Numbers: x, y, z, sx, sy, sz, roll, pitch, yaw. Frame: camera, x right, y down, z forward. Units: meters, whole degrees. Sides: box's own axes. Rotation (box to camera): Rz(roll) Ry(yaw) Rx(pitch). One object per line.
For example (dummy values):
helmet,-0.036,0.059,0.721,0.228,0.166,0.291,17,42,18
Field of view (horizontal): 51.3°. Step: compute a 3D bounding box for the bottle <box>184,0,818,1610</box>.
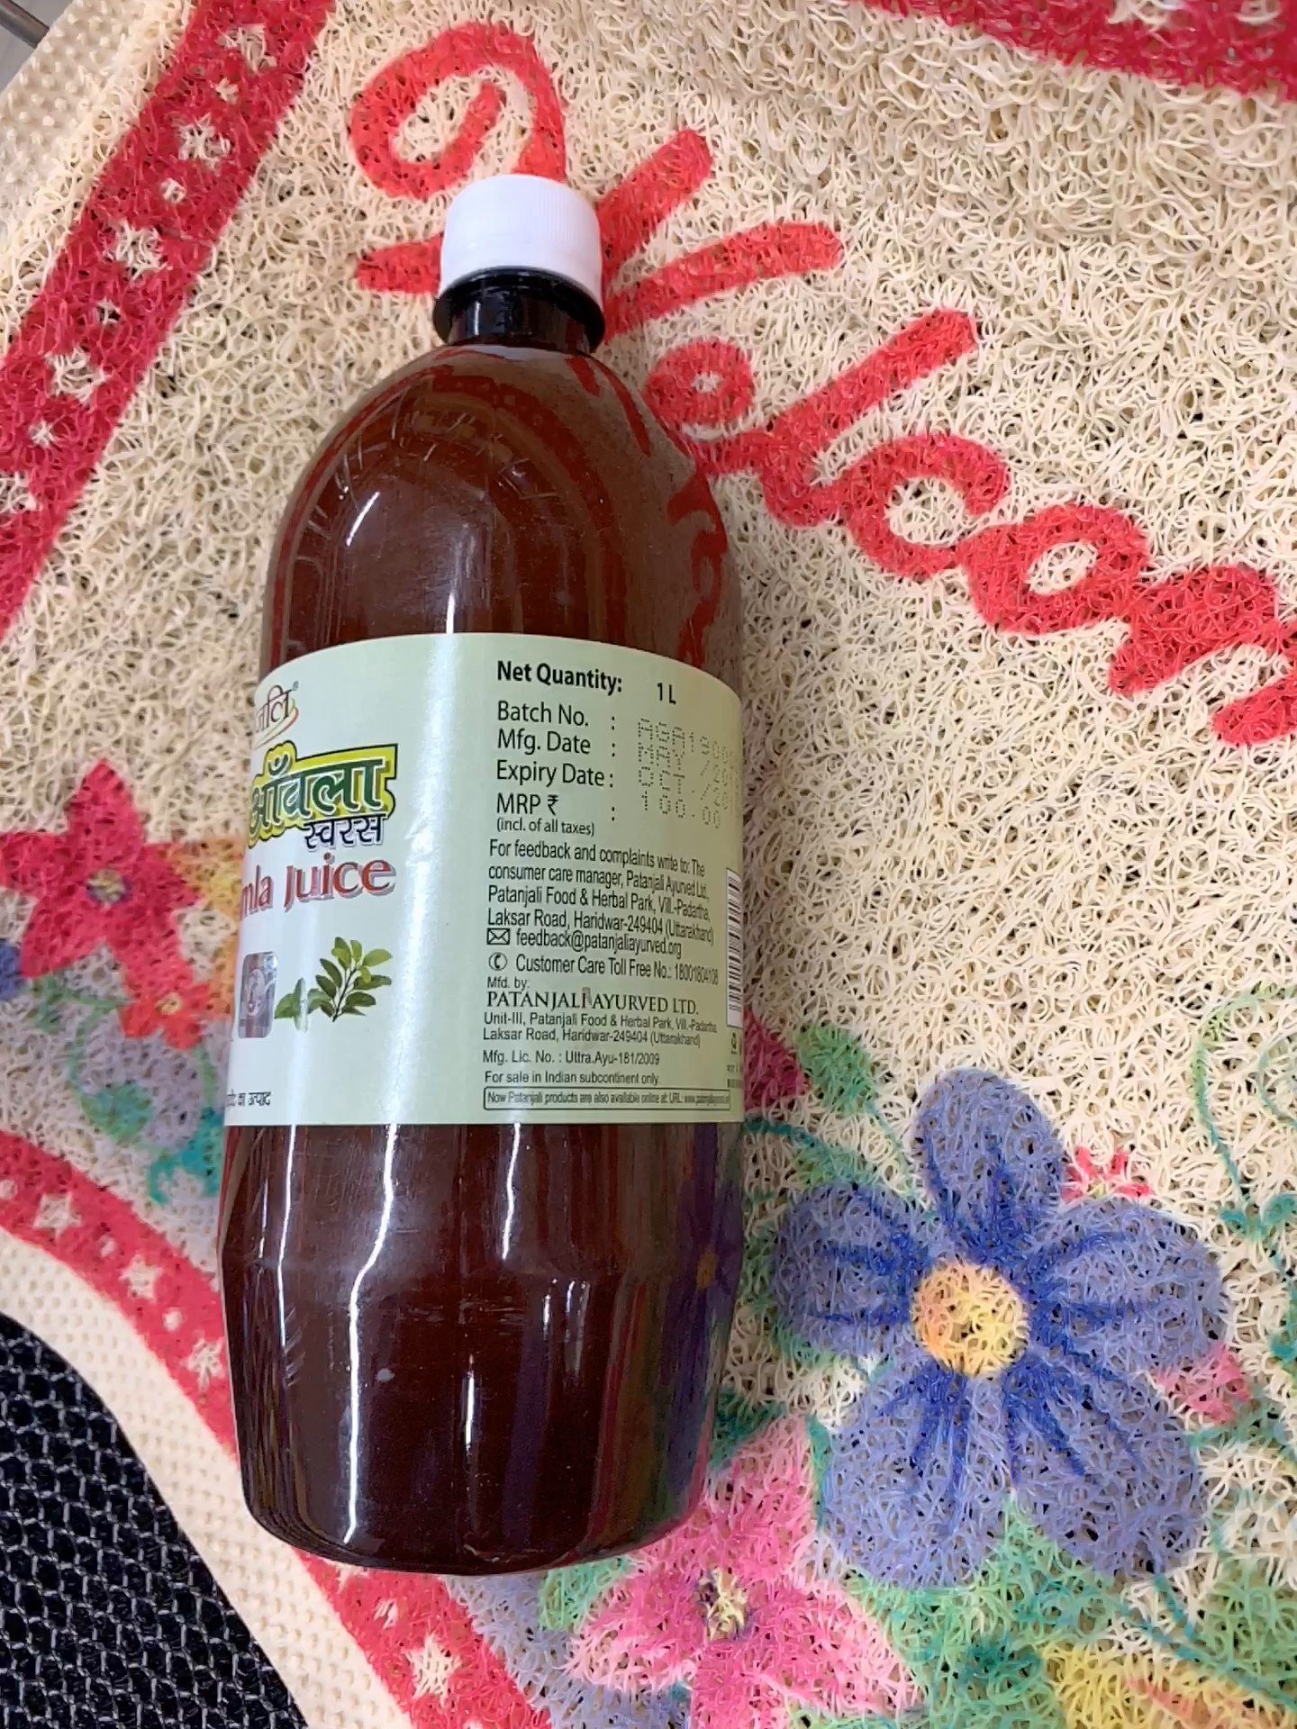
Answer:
bottle,-0.024,-0.024,0.232,0.080,0.080,0.250,4,79,-13
